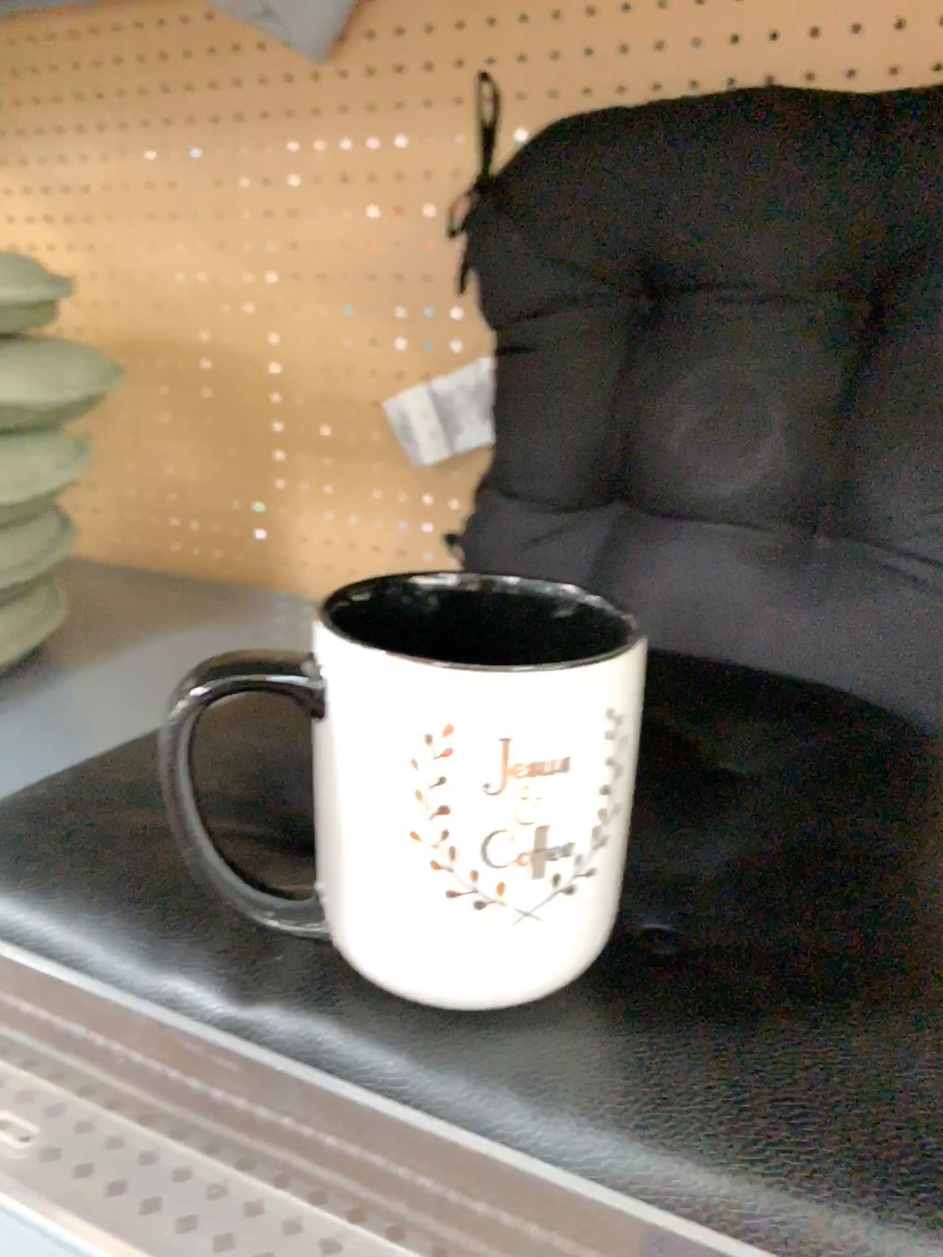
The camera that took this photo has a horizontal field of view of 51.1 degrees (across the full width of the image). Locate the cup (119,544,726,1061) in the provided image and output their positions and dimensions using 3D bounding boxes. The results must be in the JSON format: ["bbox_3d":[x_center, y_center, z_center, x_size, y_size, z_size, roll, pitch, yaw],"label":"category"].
[{"bbox_3d":[-0.018,0.038,0.290,0.142,0.104,0.102,-3,16,-12],"label":"cup"}]
